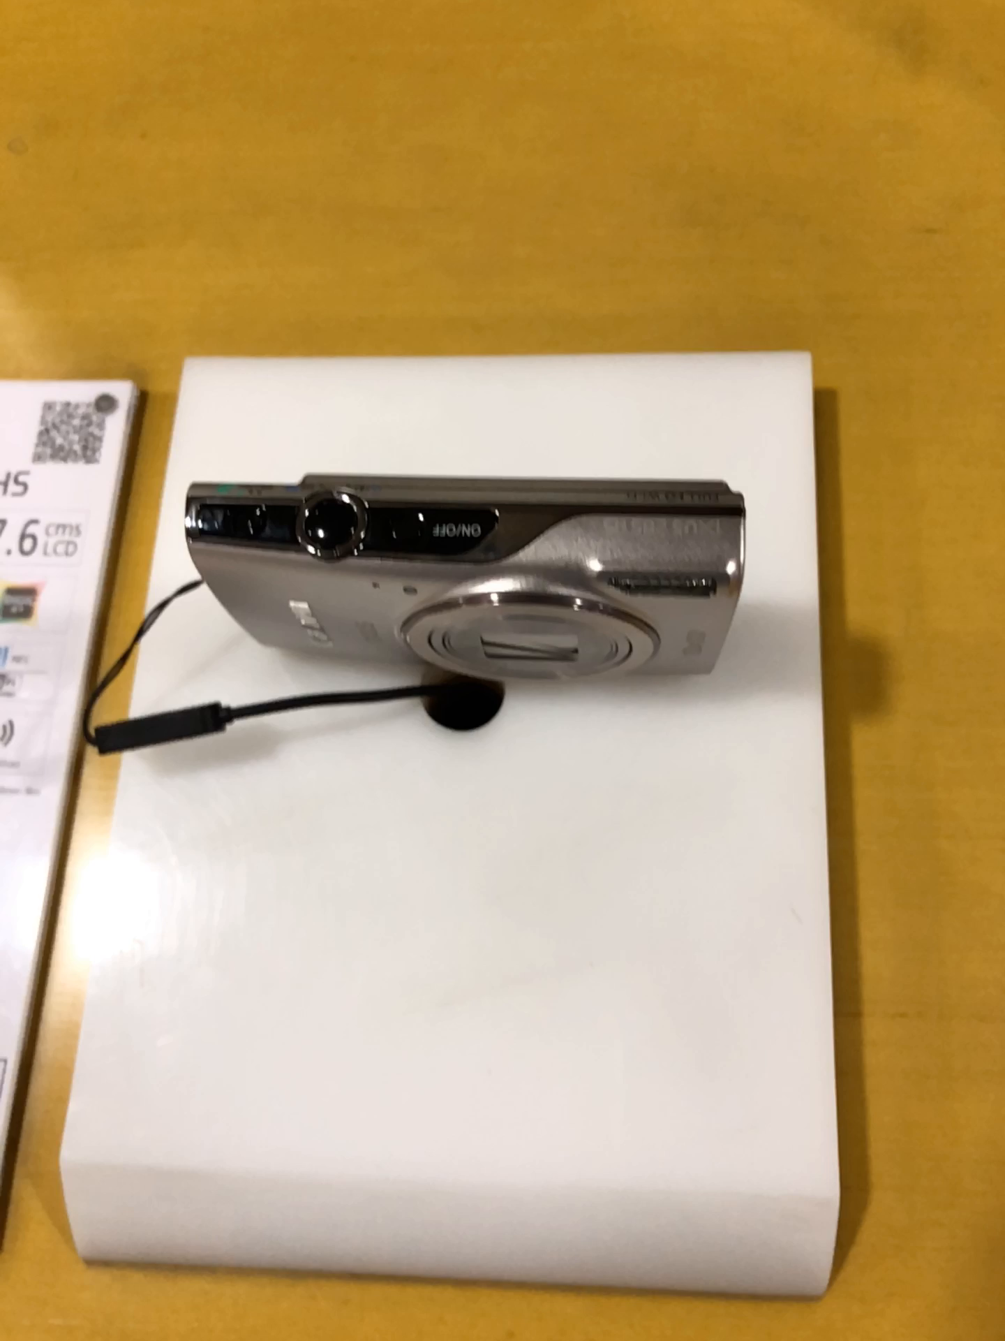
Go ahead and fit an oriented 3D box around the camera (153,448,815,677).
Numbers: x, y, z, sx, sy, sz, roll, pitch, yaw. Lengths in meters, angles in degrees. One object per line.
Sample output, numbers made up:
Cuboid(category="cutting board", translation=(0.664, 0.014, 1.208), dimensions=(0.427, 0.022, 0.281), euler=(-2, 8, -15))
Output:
Cuboid(category="camera", translation=(-0.002, -0.019, 0.218), dimensions=(0.110, 0.060, 0.020), euler=(2, 72, 5))
